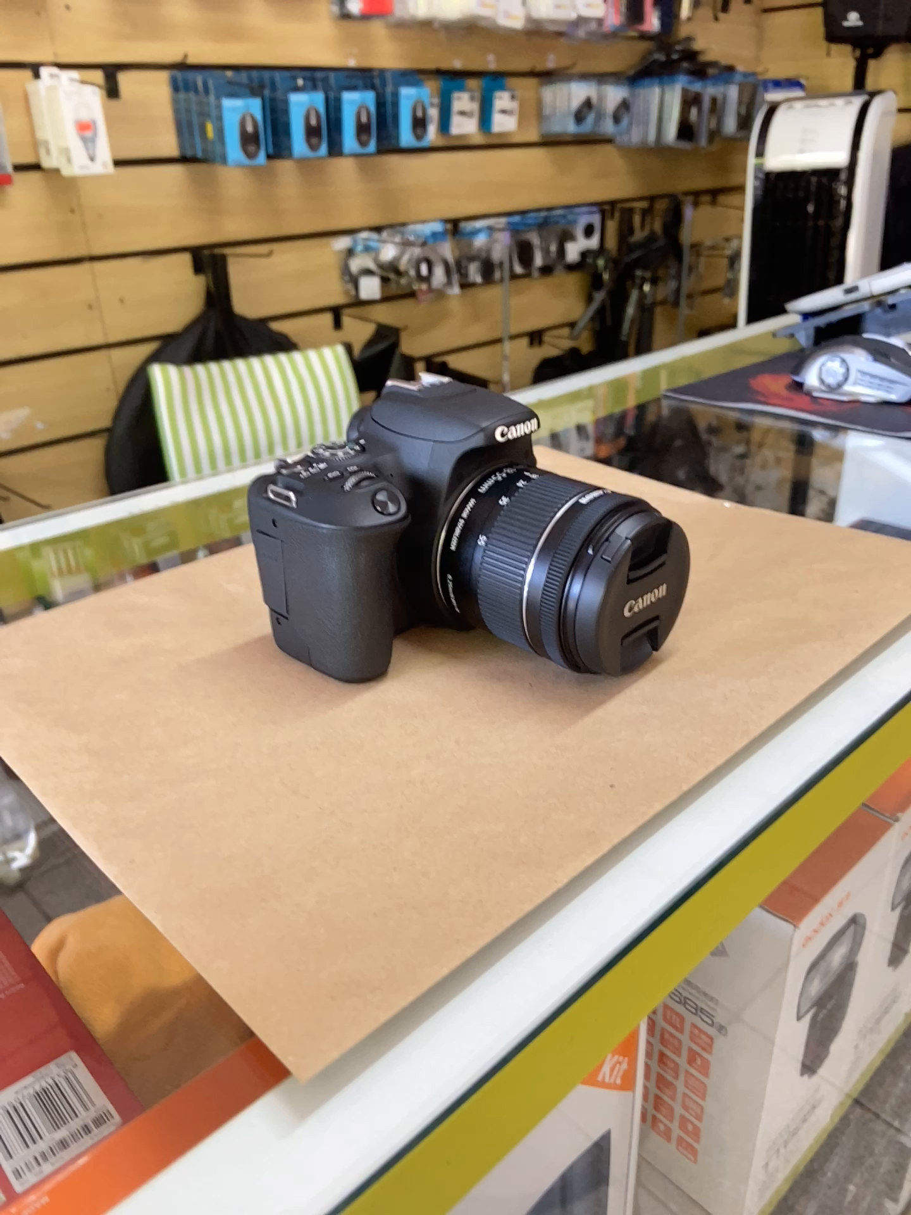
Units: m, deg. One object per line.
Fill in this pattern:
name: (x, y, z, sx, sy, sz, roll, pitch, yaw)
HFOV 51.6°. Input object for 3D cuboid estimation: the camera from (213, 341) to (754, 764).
camera: (0.014, -0.036, 0.349, 0.130, 0.089, 0.141, 19, 33, 38)
